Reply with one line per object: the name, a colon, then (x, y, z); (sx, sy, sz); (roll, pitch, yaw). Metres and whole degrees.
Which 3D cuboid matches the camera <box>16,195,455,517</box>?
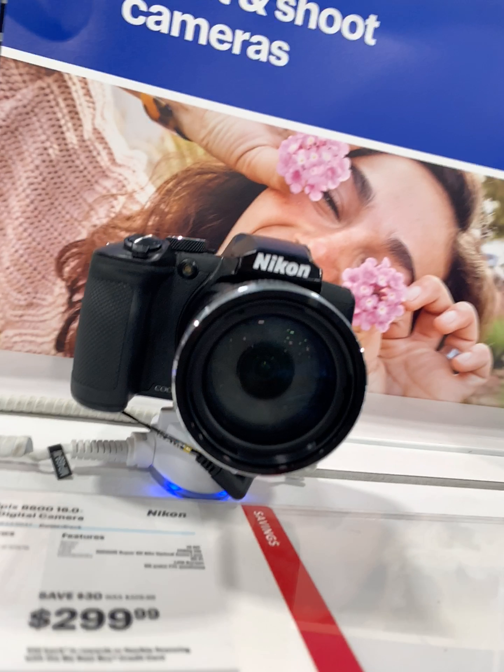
camera: (-0.009, 0.003, 0.206); (0.120, 0.080, 0.100); (10, 7, -9)
